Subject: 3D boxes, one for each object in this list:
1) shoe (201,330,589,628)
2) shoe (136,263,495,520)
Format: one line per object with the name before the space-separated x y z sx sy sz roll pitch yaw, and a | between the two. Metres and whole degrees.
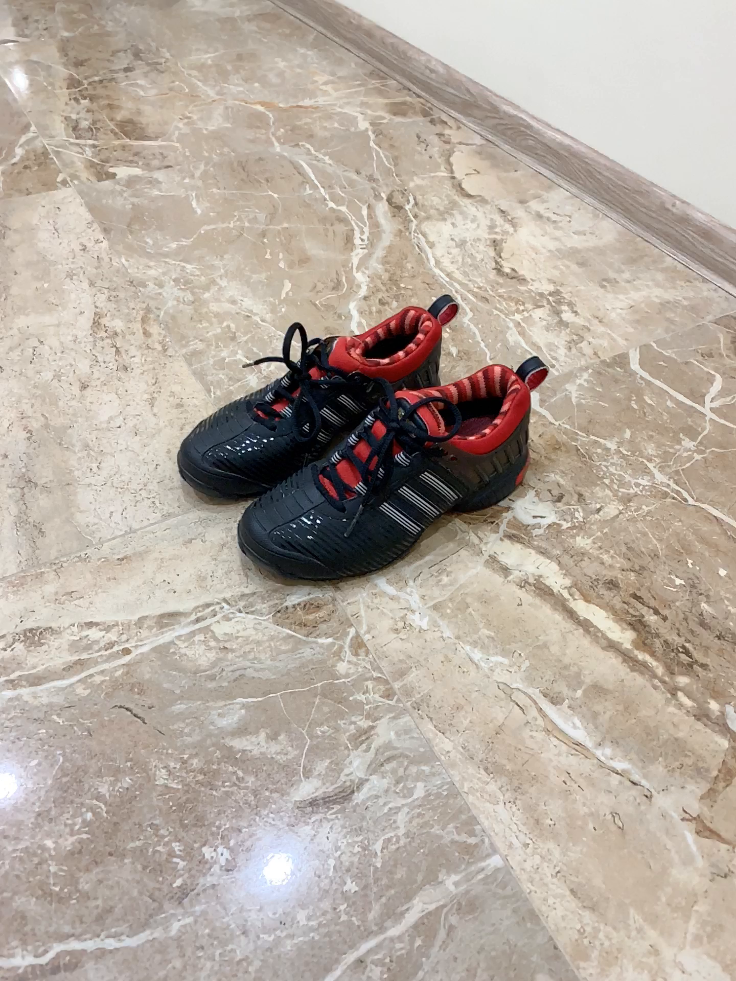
shoe | 0.025 -0.019 0.567 0.270 0.090 0.096 -25 52 -24
shoe | -0.036 -0.090 0.623 0.270 0.090 0.096 -25 52 -24
